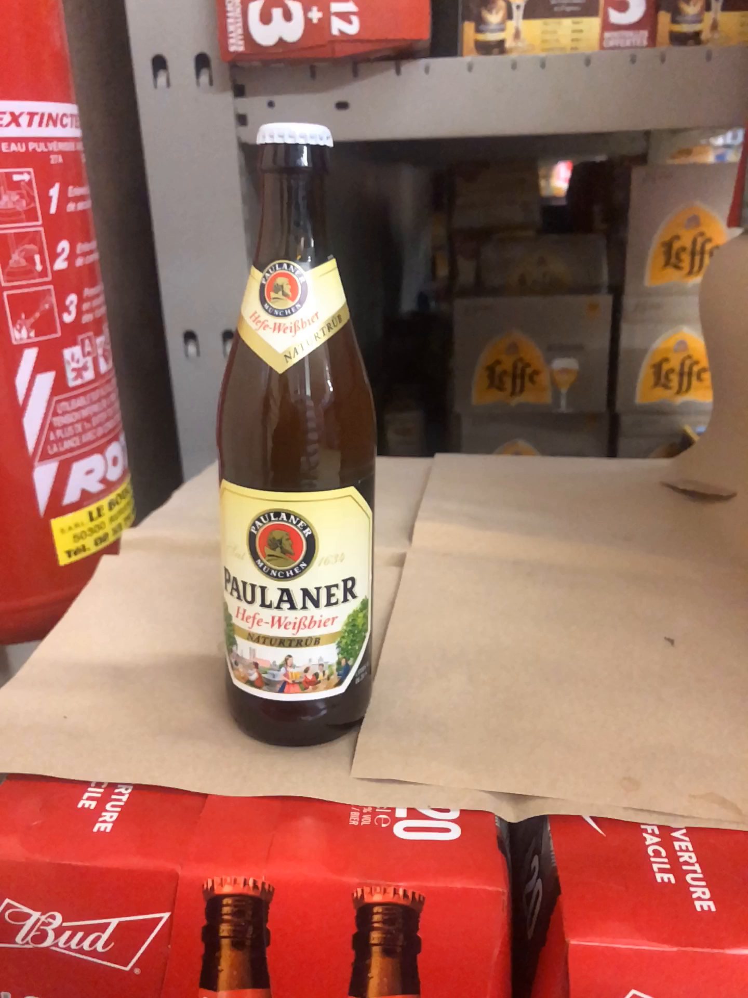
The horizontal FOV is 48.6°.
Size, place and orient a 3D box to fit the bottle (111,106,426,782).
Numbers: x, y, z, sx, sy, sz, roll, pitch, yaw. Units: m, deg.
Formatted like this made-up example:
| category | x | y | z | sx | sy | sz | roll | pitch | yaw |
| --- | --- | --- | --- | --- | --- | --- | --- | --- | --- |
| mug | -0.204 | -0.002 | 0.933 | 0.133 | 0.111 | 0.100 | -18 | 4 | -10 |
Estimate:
| category | x | y | z | sx | sy | sz | roll | pitch | yaw |
| --- | --- | --- | --- | --- | --- | --- | --- | --- | --- |
| bottle | -0.031 | -0.020 | 0.333 | 0.080 | 0.239 | 0.080 | -2 | 19 | 1 |
